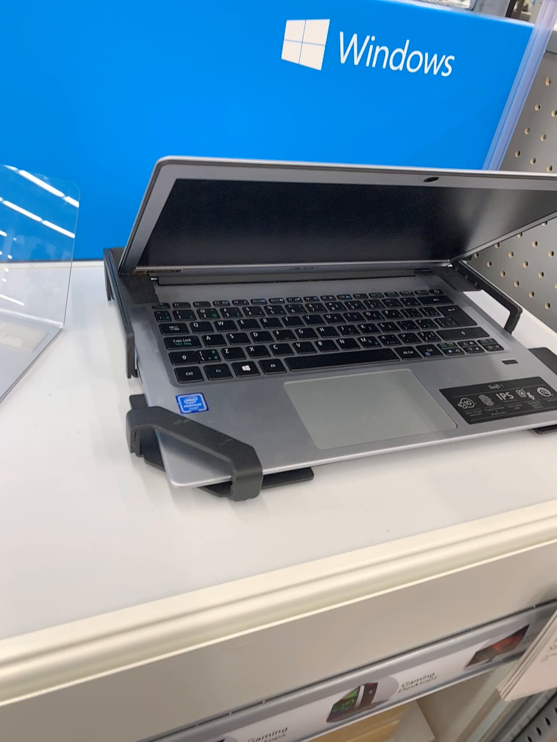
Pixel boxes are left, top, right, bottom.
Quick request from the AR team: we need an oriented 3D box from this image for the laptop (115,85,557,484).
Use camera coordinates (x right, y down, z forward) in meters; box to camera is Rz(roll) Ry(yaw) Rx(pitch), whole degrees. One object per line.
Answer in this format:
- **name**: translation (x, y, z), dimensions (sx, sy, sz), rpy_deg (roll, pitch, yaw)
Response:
- **laptop**: translation (0.063, -0.073, 0.387), dimensions (0.308, 0.140, 0.198), rpy_deg (-5, 41, -21)
